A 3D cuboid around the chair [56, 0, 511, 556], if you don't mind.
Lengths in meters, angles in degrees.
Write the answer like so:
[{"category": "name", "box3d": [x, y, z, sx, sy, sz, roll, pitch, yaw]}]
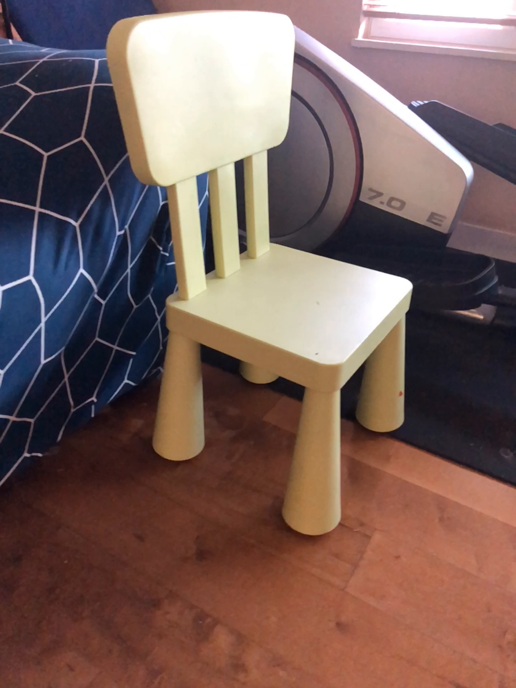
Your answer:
[{"category": "chair", "box3d": [0.041, -0.128, 0.836, 0.411, 0.635, 0.392, 19, 34, 24]}]
